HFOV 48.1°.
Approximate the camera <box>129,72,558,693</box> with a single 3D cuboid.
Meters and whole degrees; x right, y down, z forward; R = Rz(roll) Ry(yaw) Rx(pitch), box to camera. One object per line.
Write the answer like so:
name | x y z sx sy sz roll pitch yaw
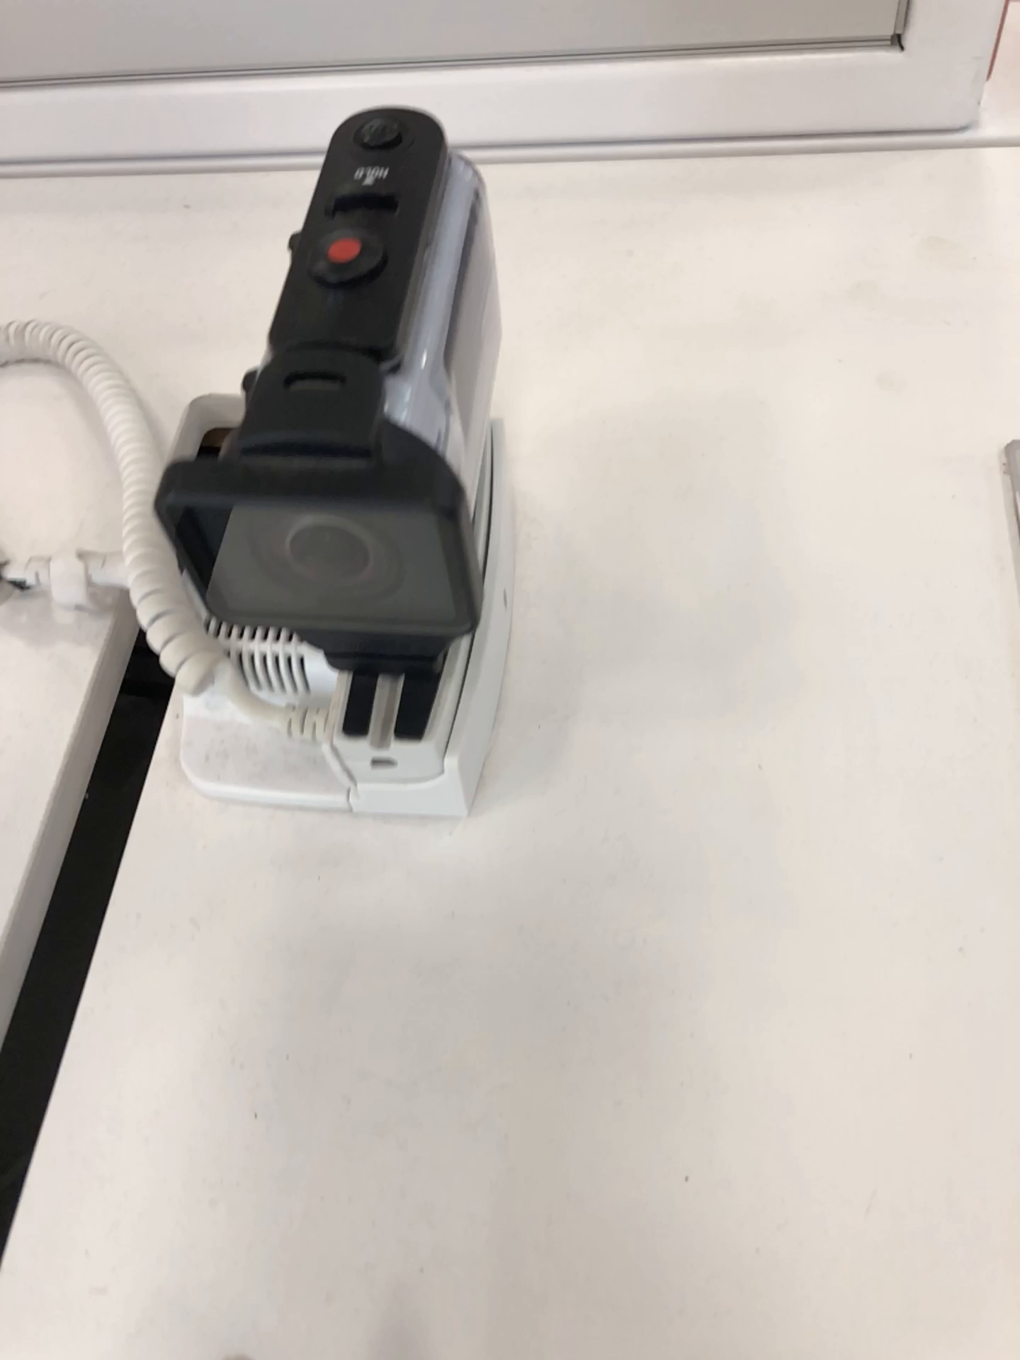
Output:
camera | -0.021 -0.052 0.203 0.050 0.060 0.090 1 58 7
